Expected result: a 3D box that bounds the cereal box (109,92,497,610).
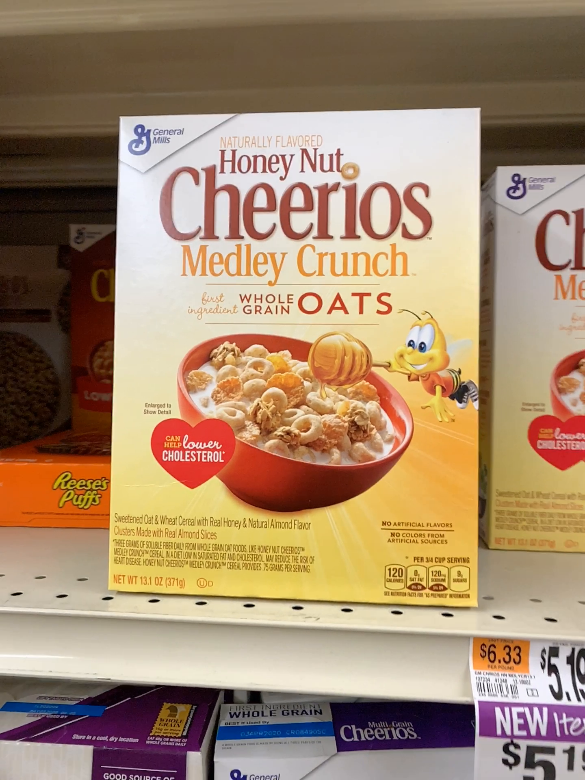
[{"bbox_3d":[0.006,-0.021,0.329,0.190,0.250,0.060,0,-2,5],"label":"cereal box"}]
